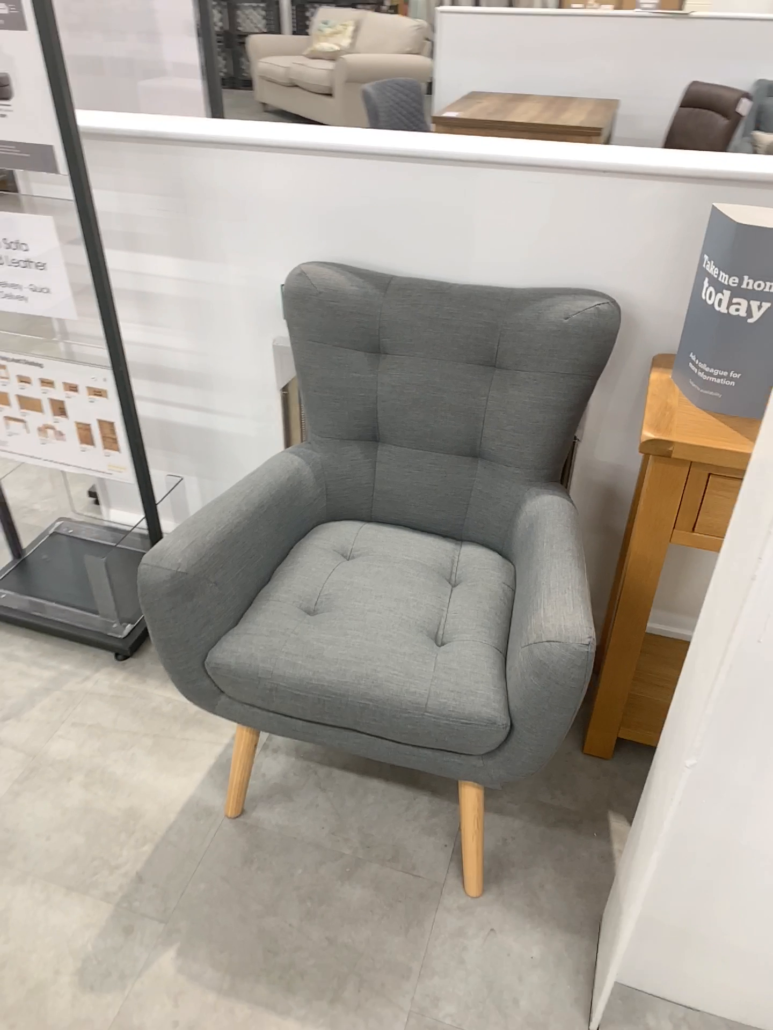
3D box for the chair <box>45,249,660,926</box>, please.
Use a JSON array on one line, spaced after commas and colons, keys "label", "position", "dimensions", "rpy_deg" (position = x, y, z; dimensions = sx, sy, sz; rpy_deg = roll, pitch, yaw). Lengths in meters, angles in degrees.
[{"label": "chair", "position": [-0.001, 0.105, 1.340], "dimensions": [0.708, 0.878, 0.543], "rpy_deg": [11, 37, 14]}]
